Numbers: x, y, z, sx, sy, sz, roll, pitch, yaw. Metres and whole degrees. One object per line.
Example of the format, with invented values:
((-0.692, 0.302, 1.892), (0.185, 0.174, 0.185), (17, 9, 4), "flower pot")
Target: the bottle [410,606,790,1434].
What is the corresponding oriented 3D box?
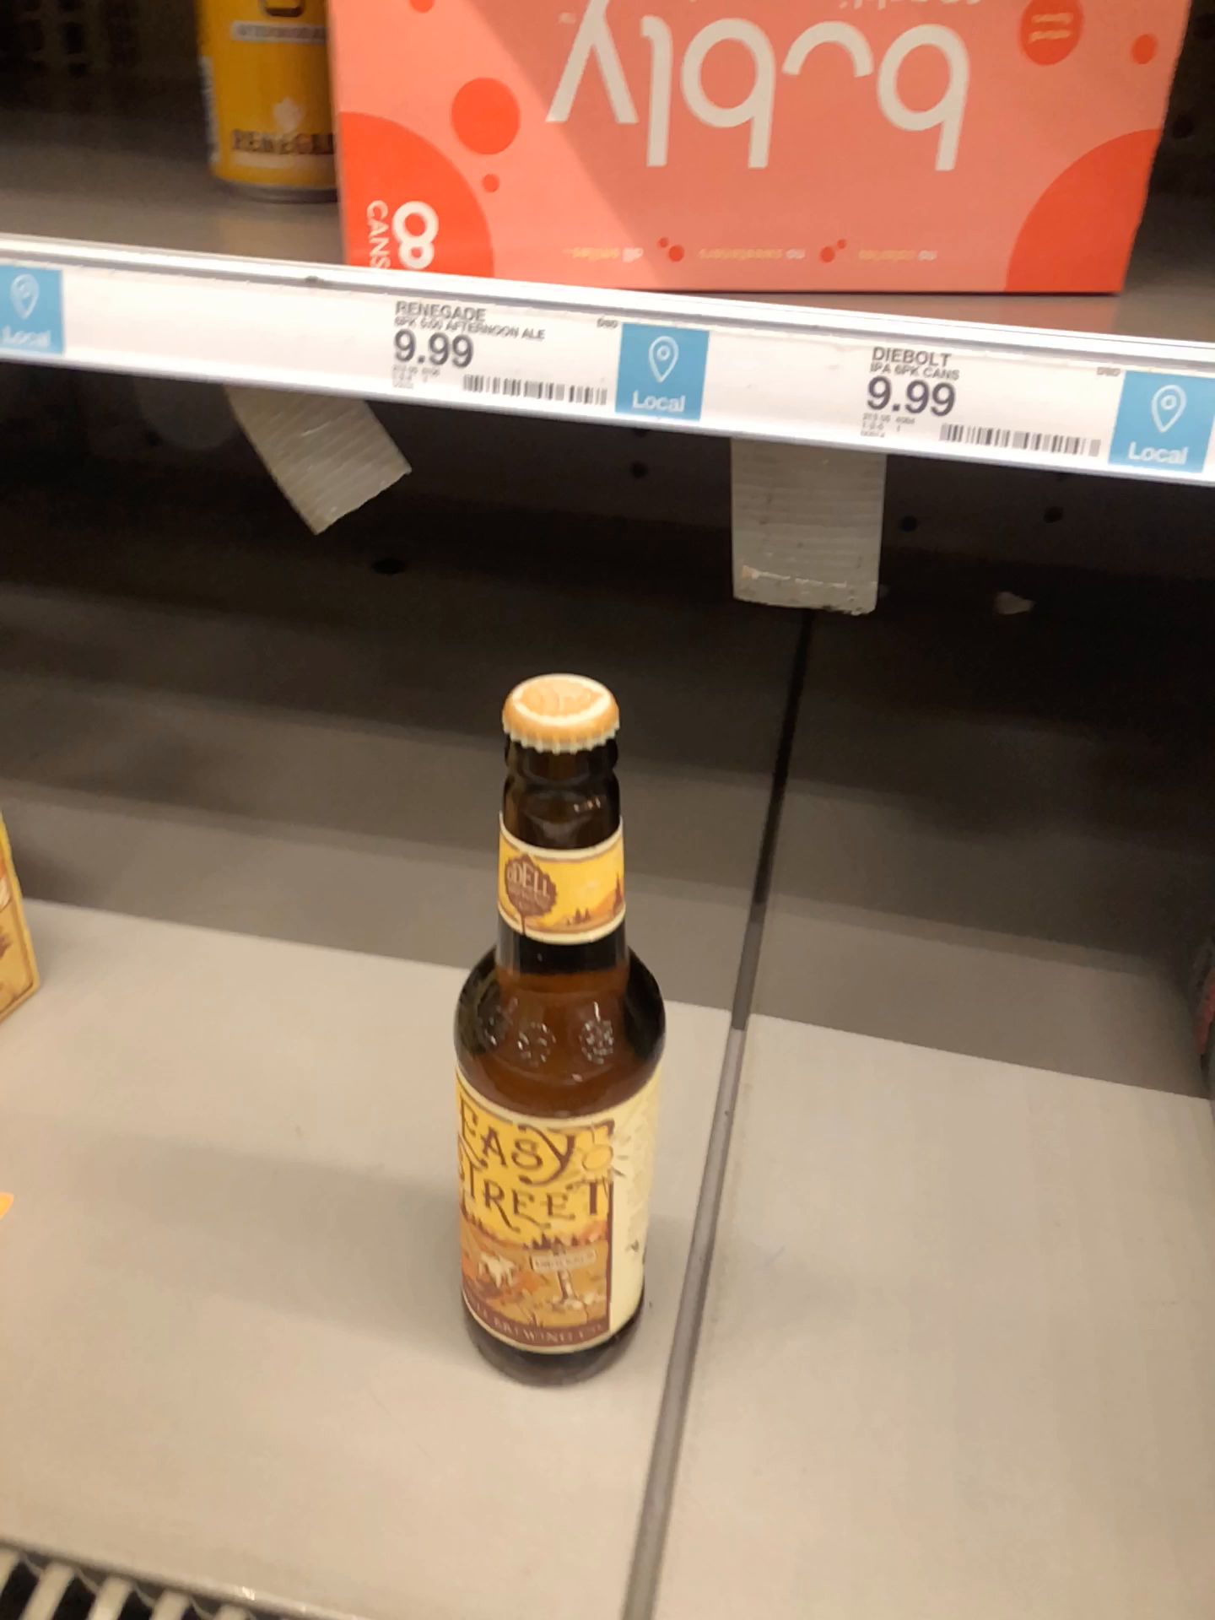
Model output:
((-0.004, 0.067, 0.383), (0.066, 0.229, 0.070), (2, 33, -1), "bottle")
